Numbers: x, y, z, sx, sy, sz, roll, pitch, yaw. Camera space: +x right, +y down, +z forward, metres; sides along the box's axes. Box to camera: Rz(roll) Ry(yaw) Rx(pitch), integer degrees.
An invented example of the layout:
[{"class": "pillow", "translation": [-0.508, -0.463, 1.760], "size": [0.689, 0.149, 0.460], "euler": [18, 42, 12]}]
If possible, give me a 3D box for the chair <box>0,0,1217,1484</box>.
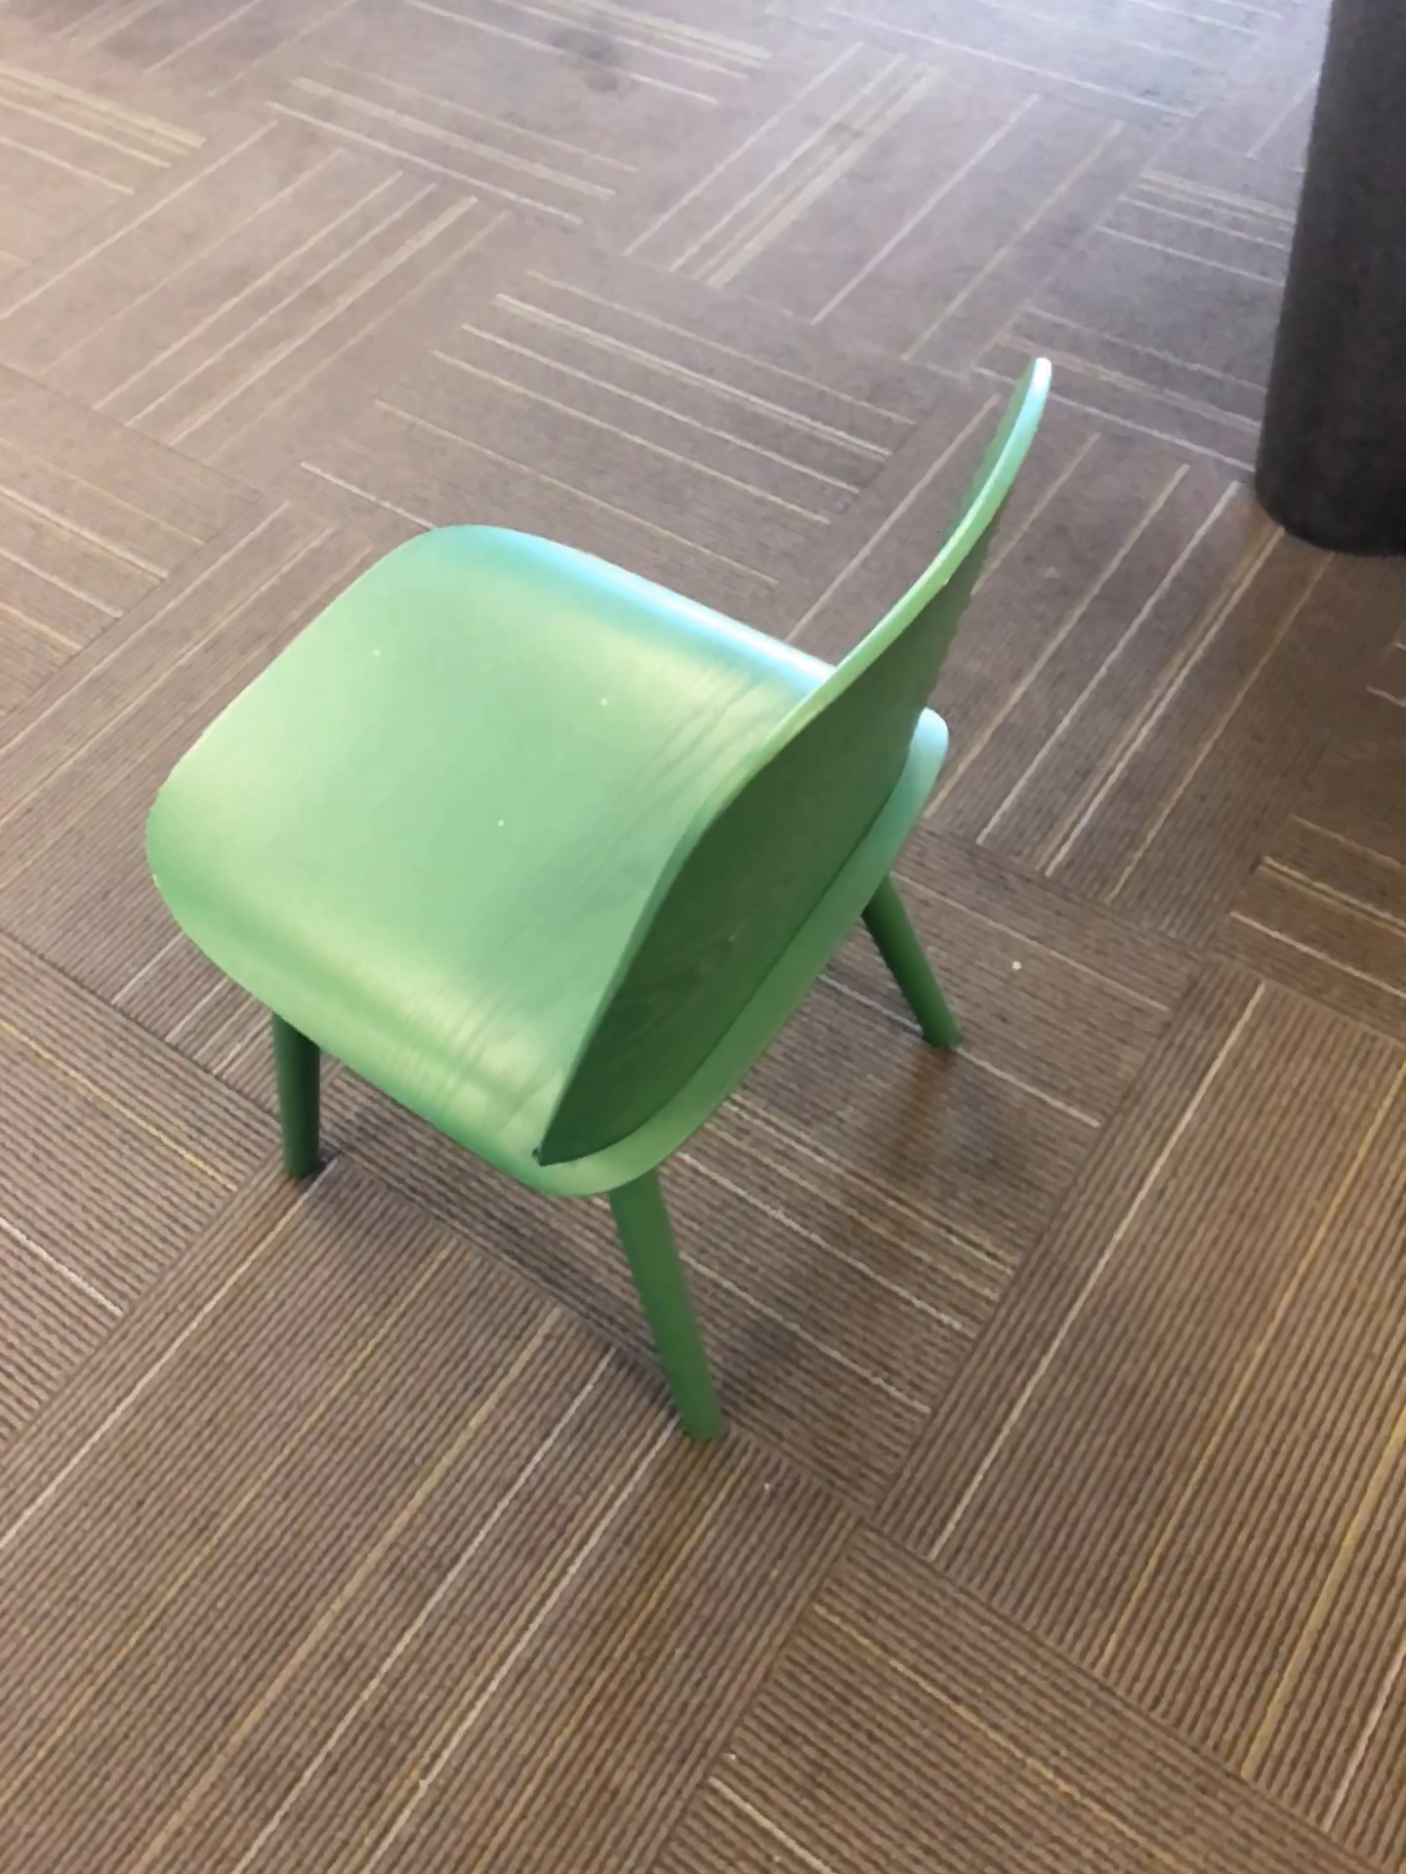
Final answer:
[{"class": "chair", "translation": [-0.079, -0.099, 1.028], "size": [0.501, 0.778, 0.501], "euler": [26, 61, 20]}]
